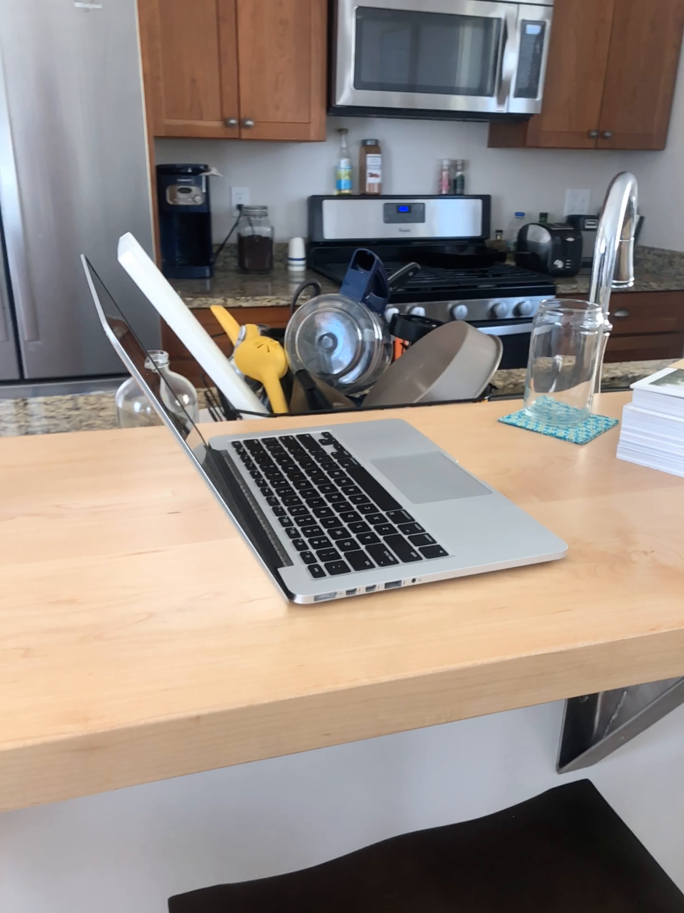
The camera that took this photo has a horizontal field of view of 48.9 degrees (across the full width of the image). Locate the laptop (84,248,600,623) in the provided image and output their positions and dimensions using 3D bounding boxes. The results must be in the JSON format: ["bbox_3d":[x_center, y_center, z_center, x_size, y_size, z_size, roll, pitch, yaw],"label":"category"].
[{"bbox_3d":[-0.033,-0.057,0.639,0.323,0.188,0.323,-7,23,-18],"label":"laptop"}]
